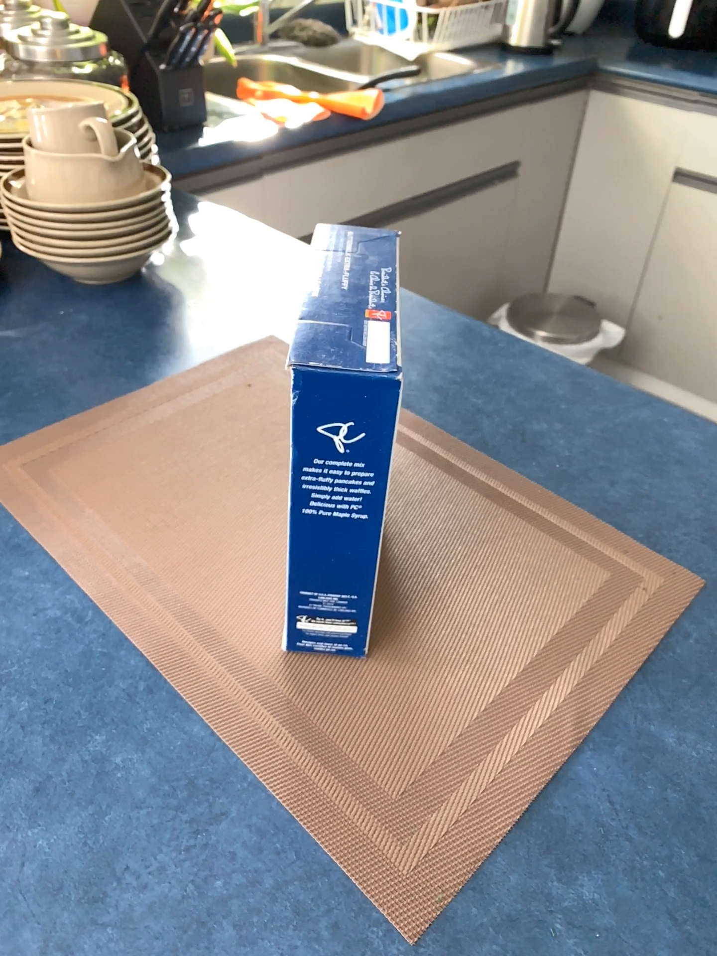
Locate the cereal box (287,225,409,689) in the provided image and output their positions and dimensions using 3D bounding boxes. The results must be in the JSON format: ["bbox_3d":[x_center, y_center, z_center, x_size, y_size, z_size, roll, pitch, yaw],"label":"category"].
[{"bbox_3d":[-0.006,-0.013,0.435,0.050,0.208,0.172,3,38,0],"label":"cereal box"}]
